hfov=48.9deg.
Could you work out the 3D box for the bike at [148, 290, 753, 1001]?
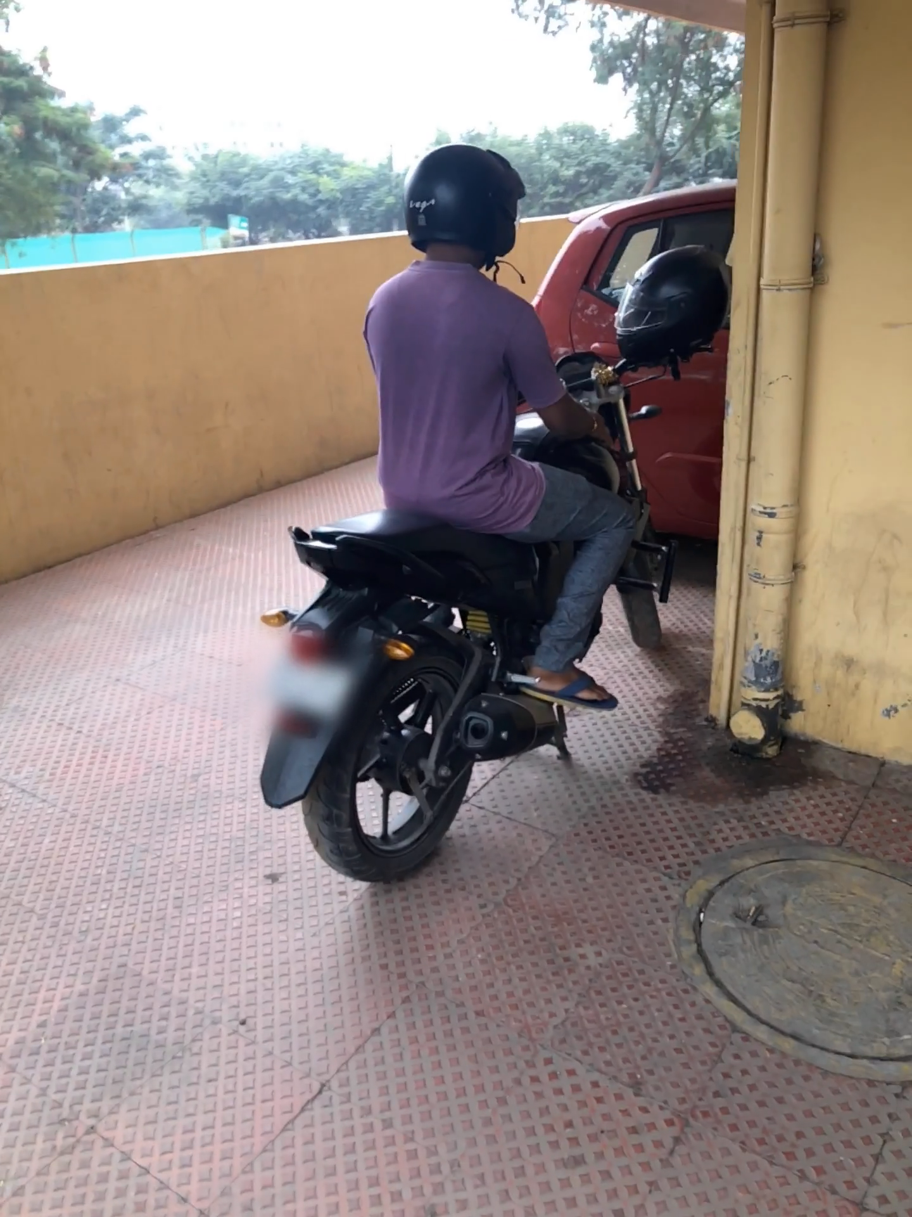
[{"bbox_3d":[0.188,-0.166,2.824,0.853,1.155,1.914,8,26,25],"label":"bike"}]
